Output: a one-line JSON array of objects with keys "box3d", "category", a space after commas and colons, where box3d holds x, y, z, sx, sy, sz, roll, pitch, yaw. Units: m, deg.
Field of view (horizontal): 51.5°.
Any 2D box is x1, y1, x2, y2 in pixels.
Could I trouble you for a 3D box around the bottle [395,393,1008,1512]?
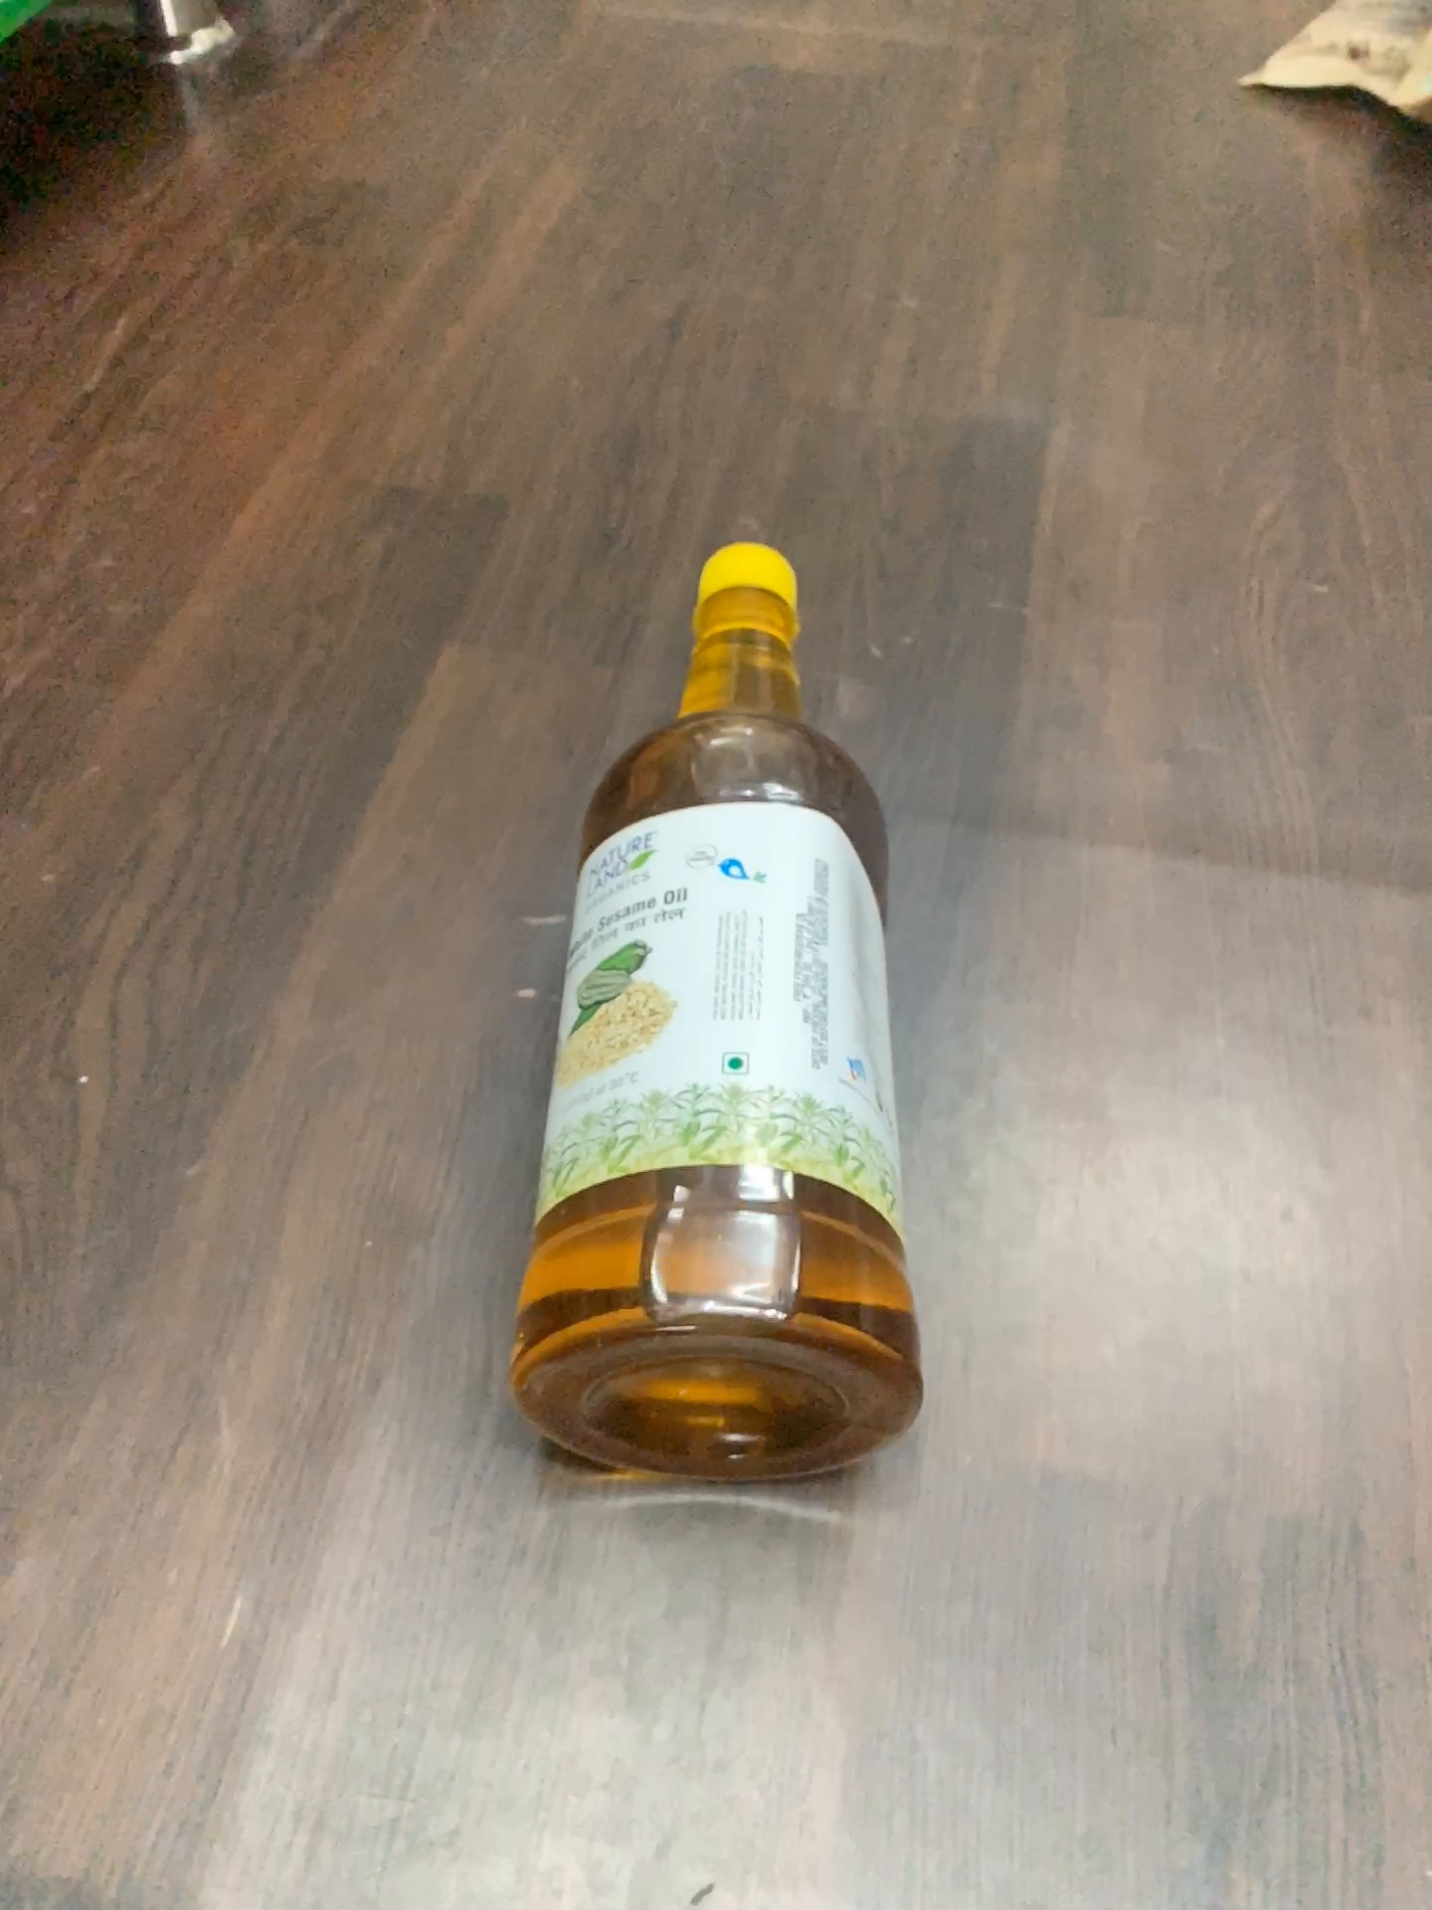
[{"box3d": [0.006, -0.016, 0.377, 0.080, 0.090, 0.271, -30, 39, 34], "category": "bottle"}]
